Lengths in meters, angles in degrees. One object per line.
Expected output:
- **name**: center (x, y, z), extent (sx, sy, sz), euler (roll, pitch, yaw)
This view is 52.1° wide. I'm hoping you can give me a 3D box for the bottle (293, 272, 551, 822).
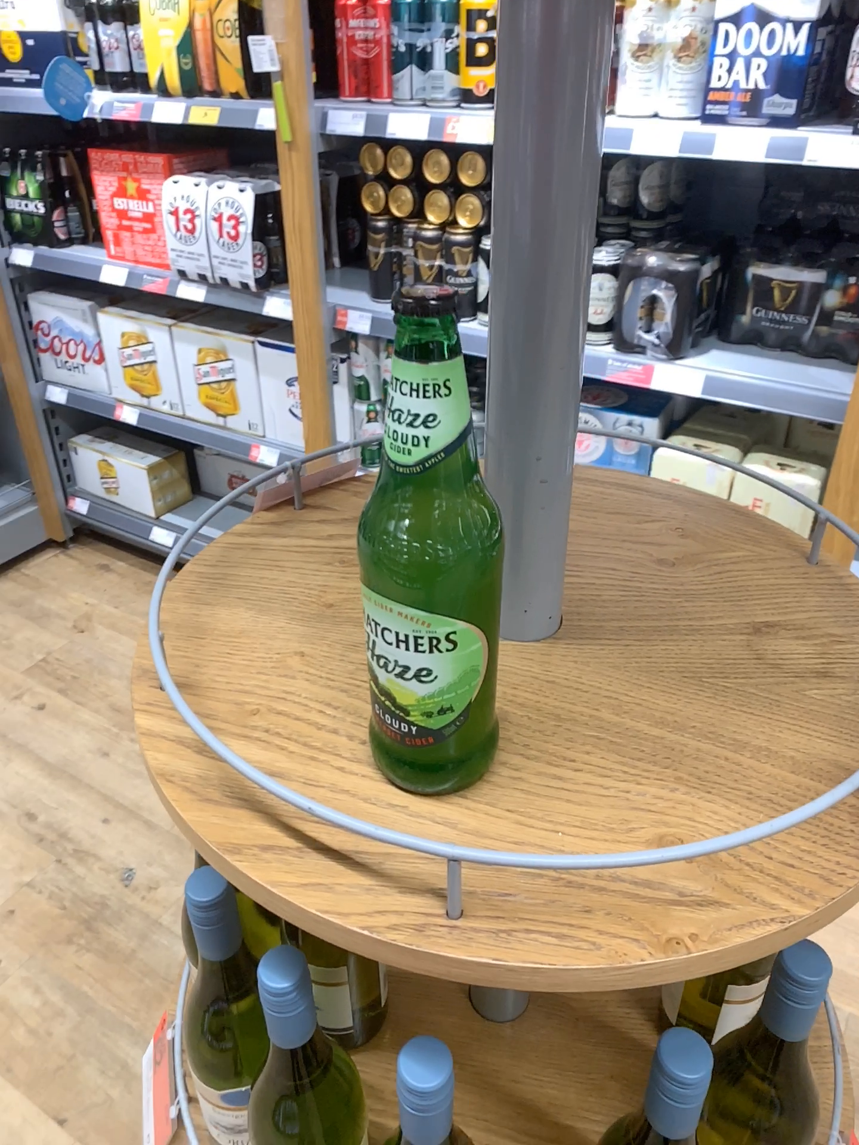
- **bottle**: center (-0.001, -0.006, 0.417), extent (0.070, 0.240, 0.078), euler (26, 41, 35)
